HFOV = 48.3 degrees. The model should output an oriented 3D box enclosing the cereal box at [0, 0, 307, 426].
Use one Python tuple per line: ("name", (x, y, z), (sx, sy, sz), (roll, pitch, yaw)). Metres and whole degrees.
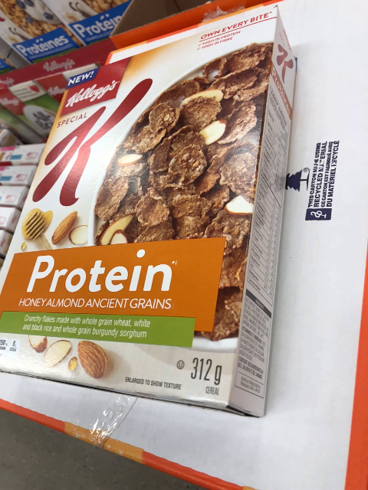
("cereal box", (-0.032, -0.036, 0.281), (0.201, 0.060, 0.260), (-4, 63, 32))
